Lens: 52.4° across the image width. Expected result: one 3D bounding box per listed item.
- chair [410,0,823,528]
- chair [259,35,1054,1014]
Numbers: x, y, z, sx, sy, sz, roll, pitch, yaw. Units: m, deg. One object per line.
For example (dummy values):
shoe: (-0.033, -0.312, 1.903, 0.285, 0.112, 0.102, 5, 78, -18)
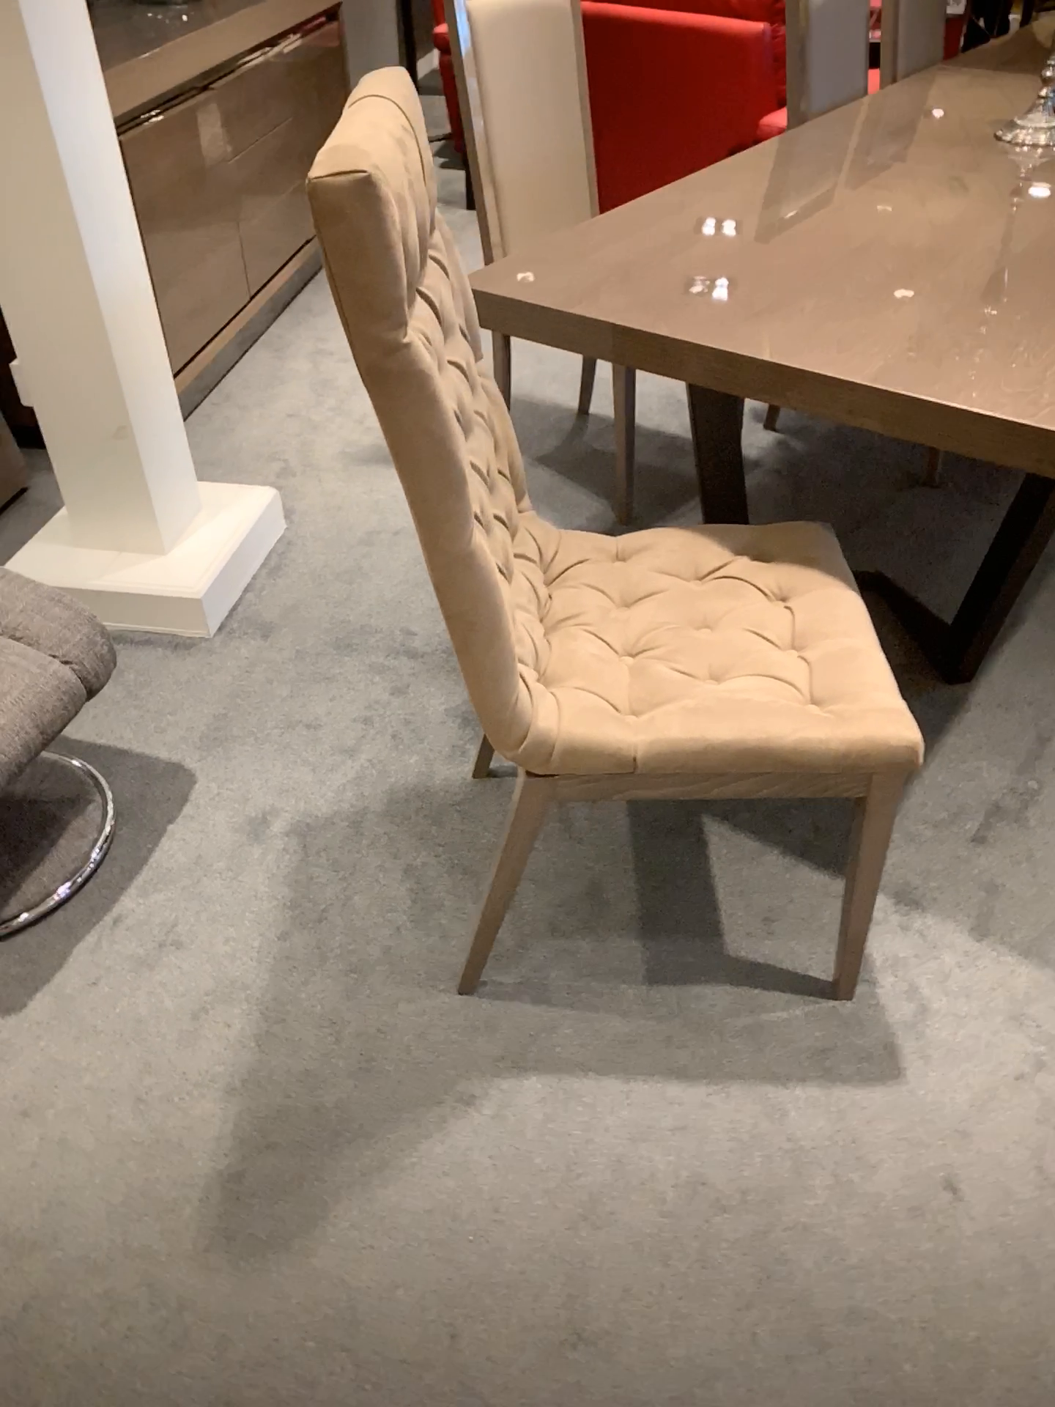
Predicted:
chair: (0.175, -1.060, 2.456, 0.525, 1.021, 0.640, -29, 47, -30)
chair: (0.130, -0.163, 1.294, 0.636, 1.021, 0.528, -1, 39, 0)
